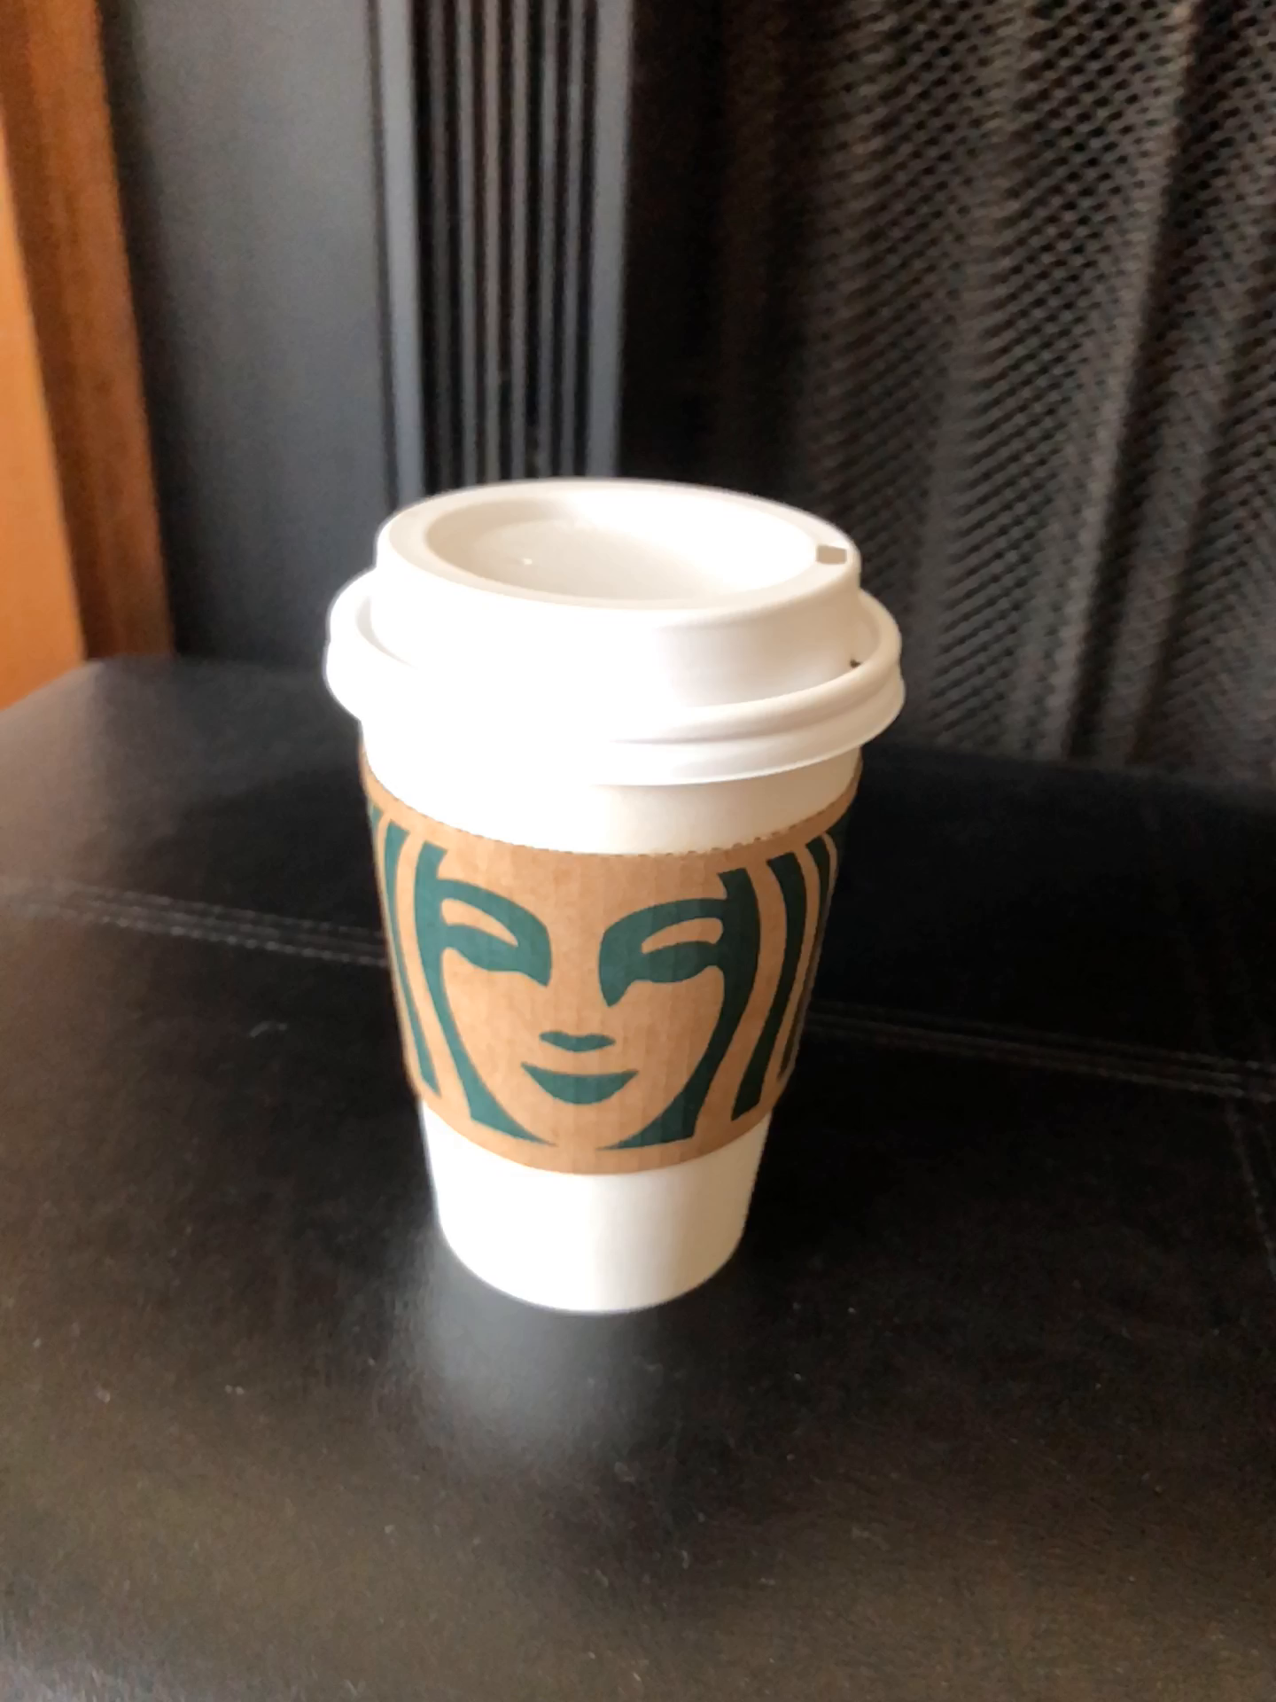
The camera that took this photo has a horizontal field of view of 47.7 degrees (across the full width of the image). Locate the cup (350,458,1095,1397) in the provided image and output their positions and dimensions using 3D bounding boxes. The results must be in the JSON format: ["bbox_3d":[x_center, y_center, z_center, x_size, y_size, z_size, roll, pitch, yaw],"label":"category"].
[{"bbox_3d":[0.002,0.007,0.238,0.090,0.120,0.090,2,29,-1],"label":"cup"}]
